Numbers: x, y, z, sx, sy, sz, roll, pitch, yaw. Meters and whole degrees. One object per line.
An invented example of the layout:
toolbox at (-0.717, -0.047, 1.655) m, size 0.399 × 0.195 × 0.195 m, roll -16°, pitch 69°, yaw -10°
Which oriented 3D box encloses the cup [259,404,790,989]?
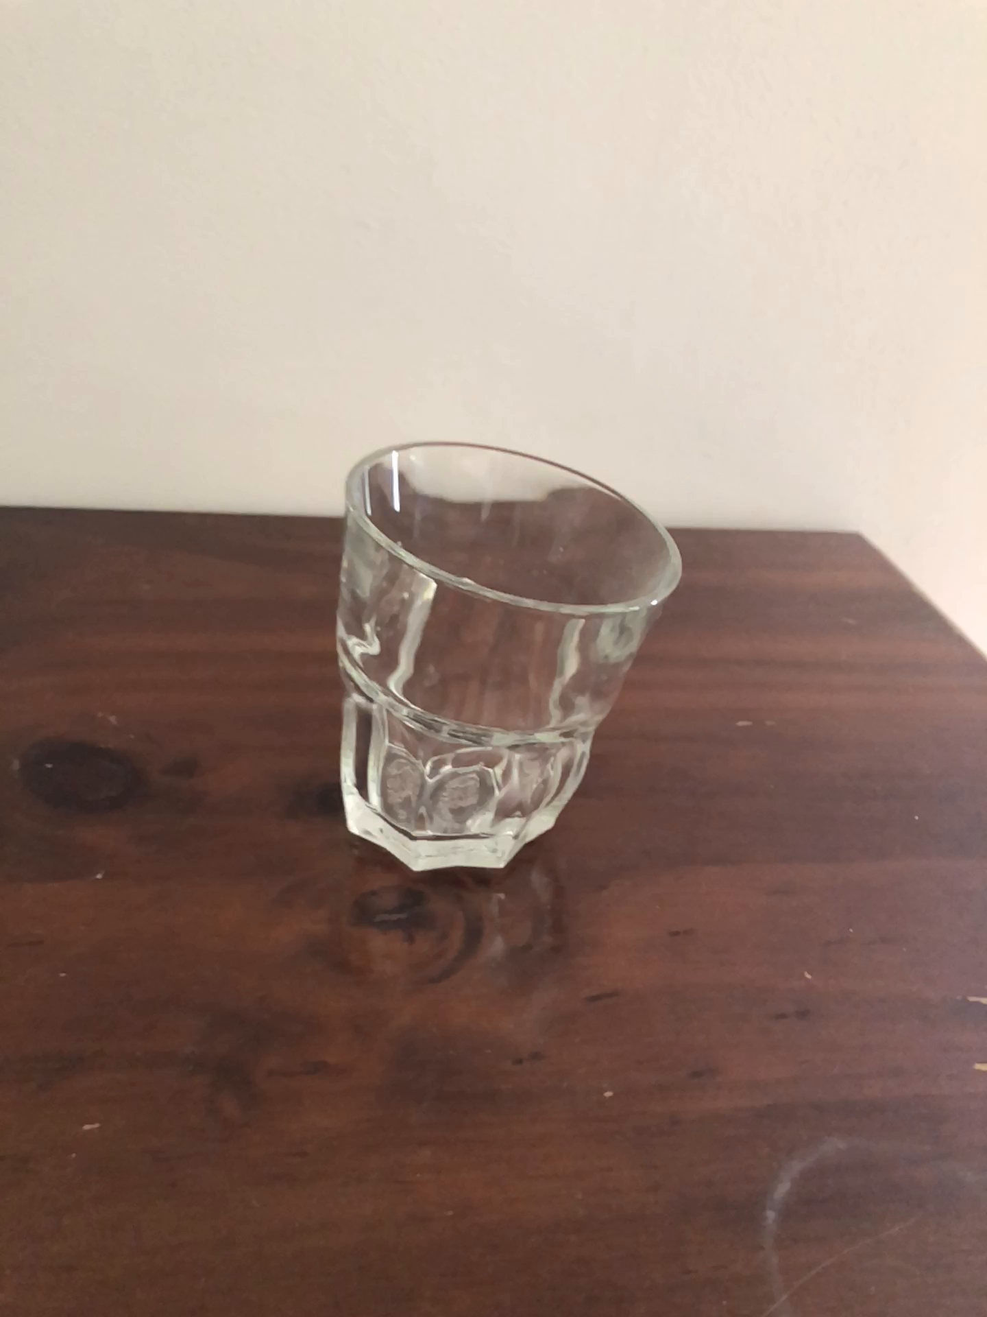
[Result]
cup at (0.008, 0.002, 0.282) m, size 0.100 × 0.095 × 0.090 m, roll 16°, pitch 31°, yaw 17°
